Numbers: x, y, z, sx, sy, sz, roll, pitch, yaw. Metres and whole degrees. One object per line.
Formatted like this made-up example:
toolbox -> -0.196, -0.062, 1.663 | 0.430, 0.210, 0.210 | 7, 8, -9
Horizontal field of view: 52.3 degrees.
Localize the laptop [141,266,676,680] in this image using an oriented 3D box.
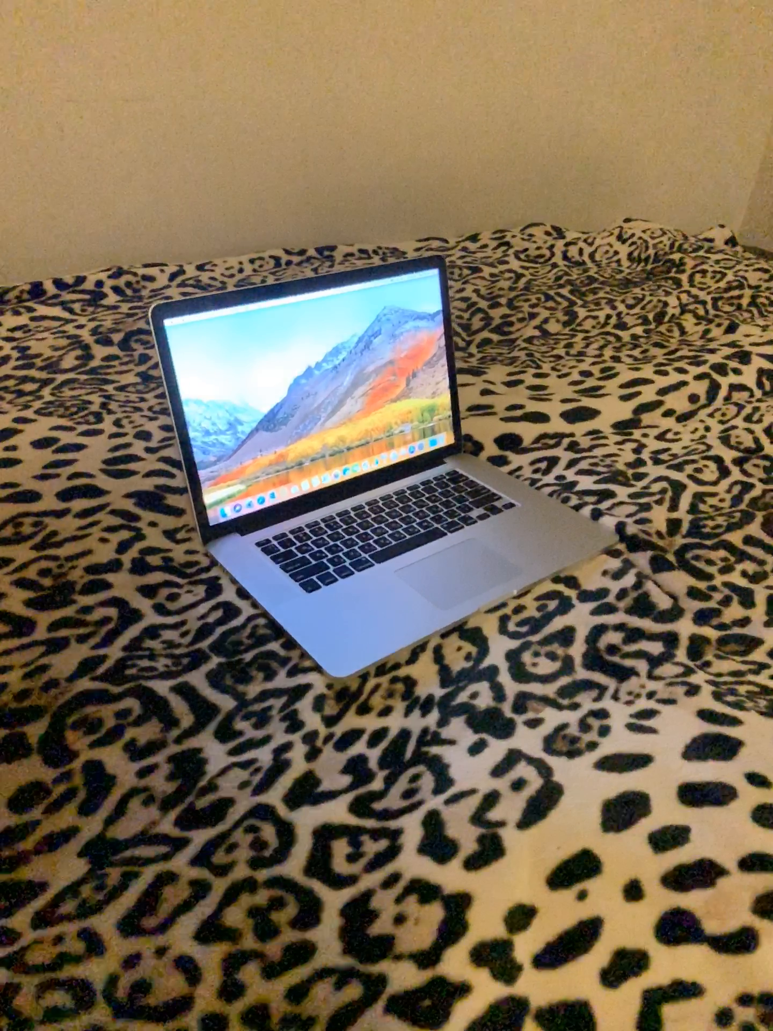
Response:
laptop -> 0.011, -0.073, 0.750 | 0.349, 0.222, 0.300 | -21, 39, -31
